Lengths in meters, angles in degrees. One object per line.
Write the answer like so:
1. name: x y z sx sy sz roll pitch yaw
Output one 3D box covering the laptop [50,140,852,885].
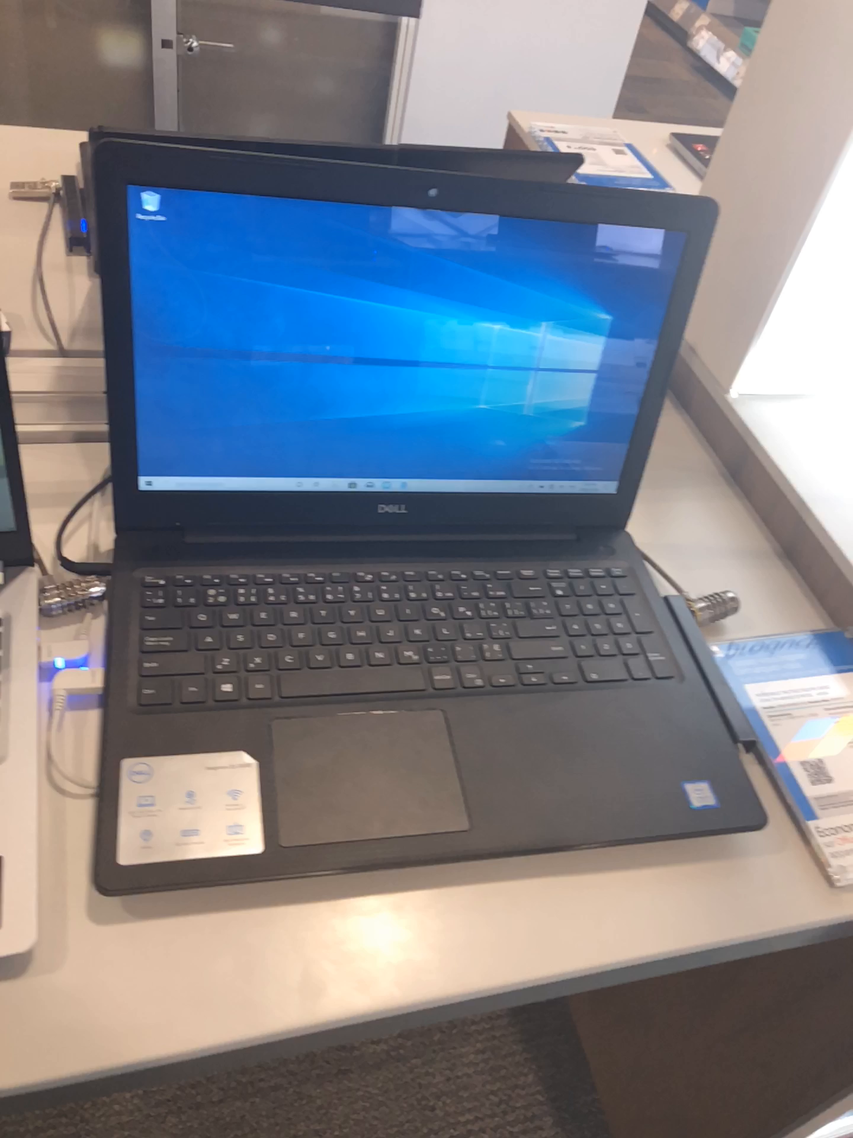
1. laptop: 0.008 -0.041 0.528 0.368 0.230 0.311 -1 46 -15
